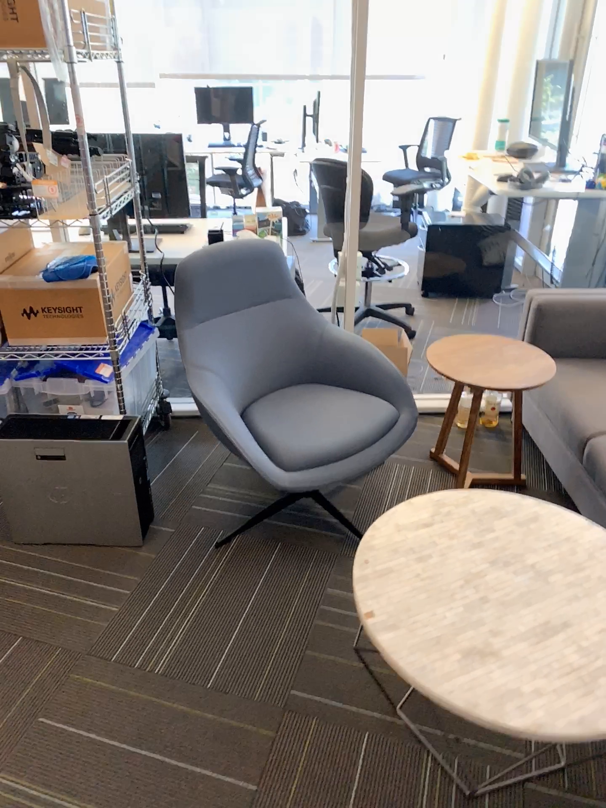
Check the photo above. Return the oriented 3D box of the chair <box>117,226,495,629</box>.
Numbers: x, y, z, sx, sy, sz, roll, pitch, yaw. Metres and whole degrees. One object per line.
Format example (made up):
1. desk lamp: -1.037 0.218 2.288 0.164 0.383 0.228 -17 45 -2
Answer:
1. chair: -0.027 -0.022 2.320 0.841 0.964 1.005 -21 35 -33
